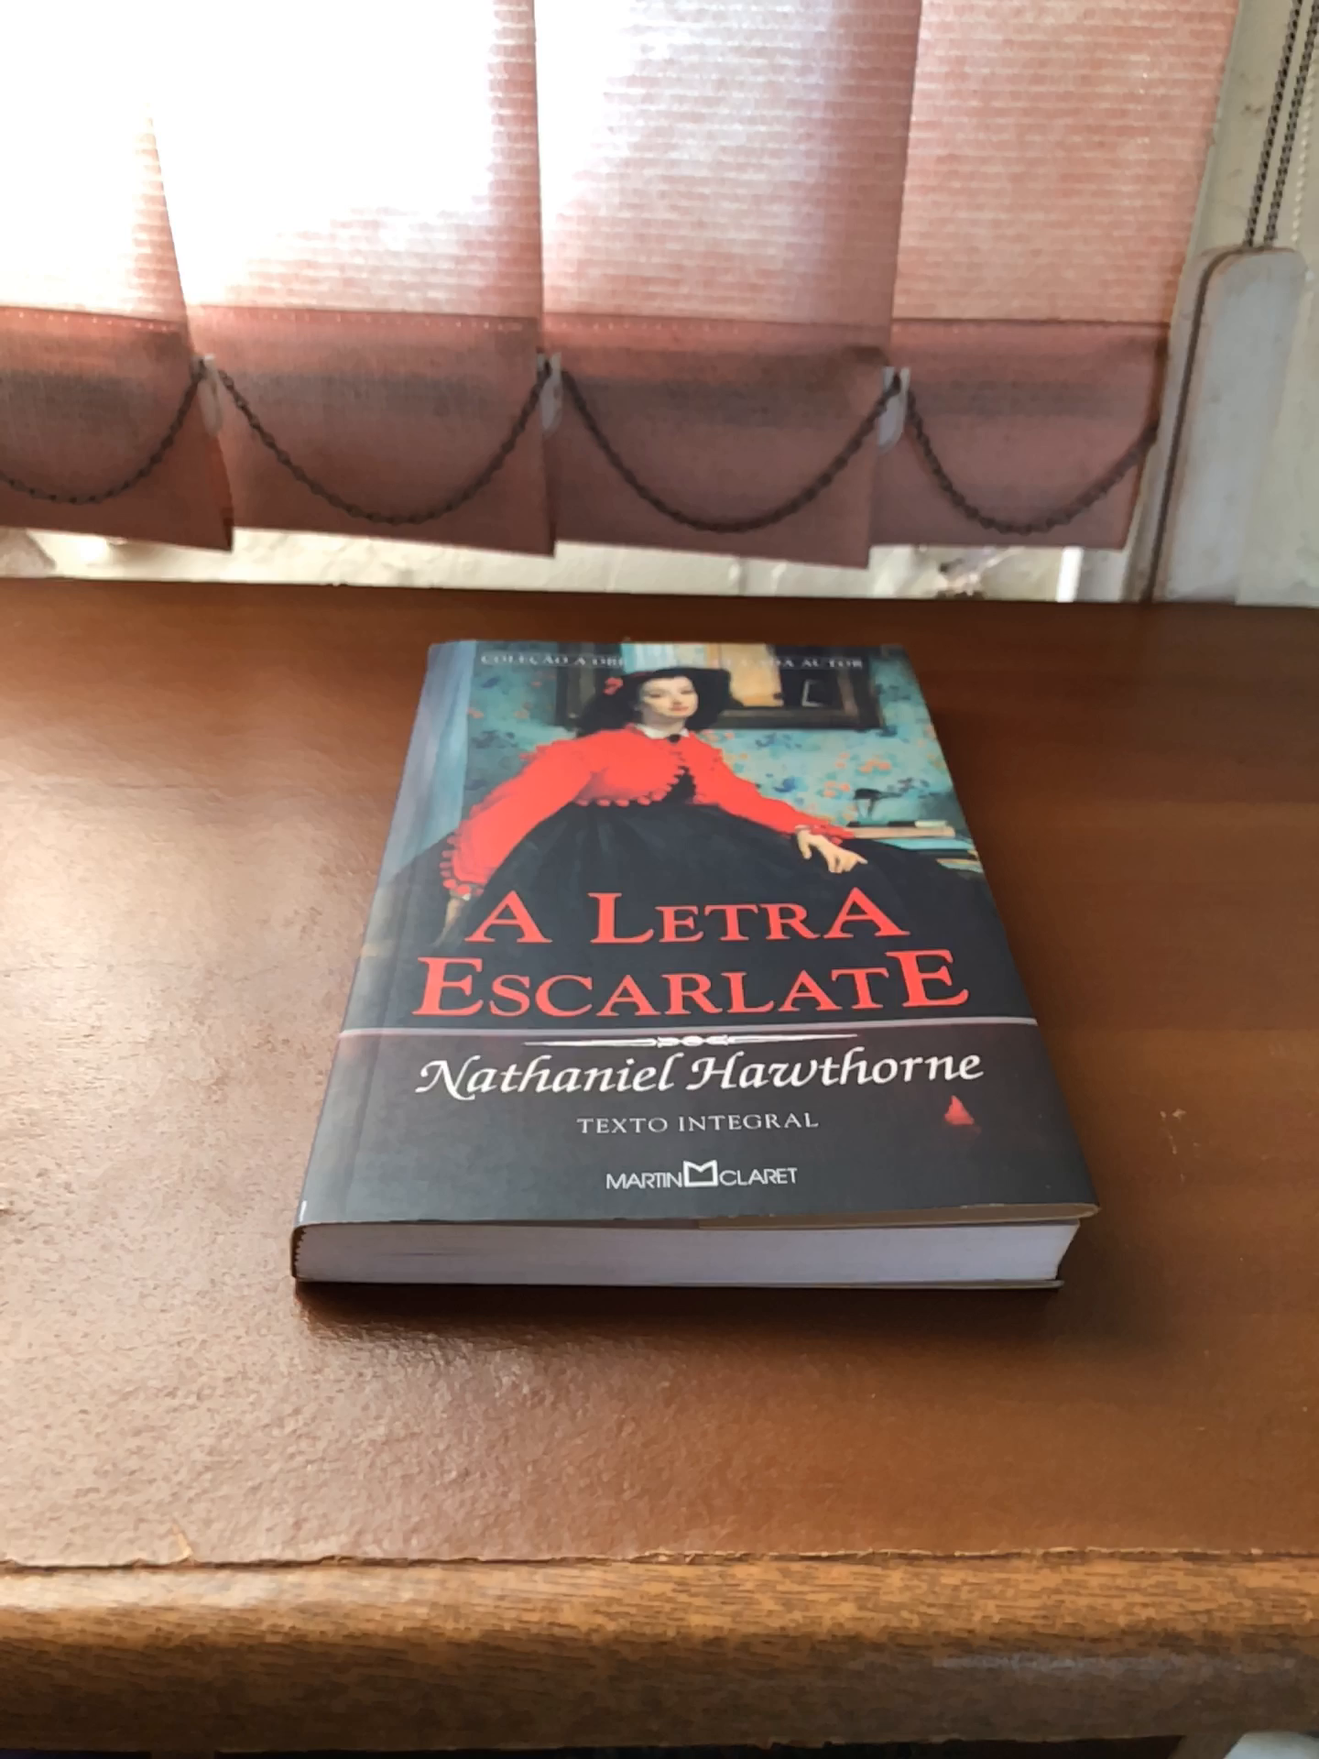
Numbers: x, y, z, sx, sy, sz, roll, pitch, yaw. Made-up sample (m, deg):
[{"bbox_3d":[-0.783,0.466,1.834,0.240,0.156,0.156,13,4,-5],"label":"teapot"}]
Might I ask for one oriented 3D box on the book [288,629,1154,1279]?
[{"bbox_3d":[0.007,-0.001,0.262,0.111,0.015,0.167,0,35,-1],"label":"book"}]
